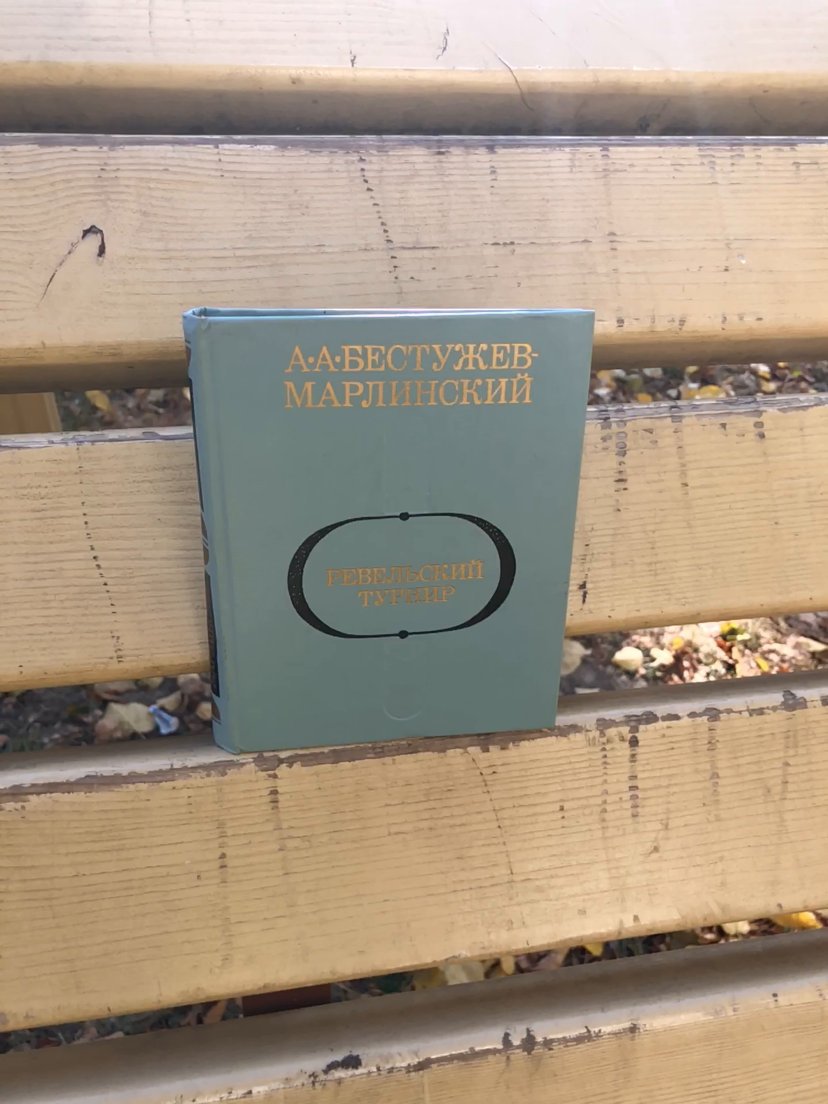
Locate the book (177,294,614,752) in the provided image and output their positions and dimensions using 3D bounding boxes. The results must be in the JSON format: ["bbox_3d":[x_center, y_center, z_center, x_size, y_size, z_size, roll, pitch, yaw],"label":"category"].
[{"bbox_3d":[-0.005,-0.005,0.340,0.140,0.169,0.022,-2,26,-4],"label":"book"}]
